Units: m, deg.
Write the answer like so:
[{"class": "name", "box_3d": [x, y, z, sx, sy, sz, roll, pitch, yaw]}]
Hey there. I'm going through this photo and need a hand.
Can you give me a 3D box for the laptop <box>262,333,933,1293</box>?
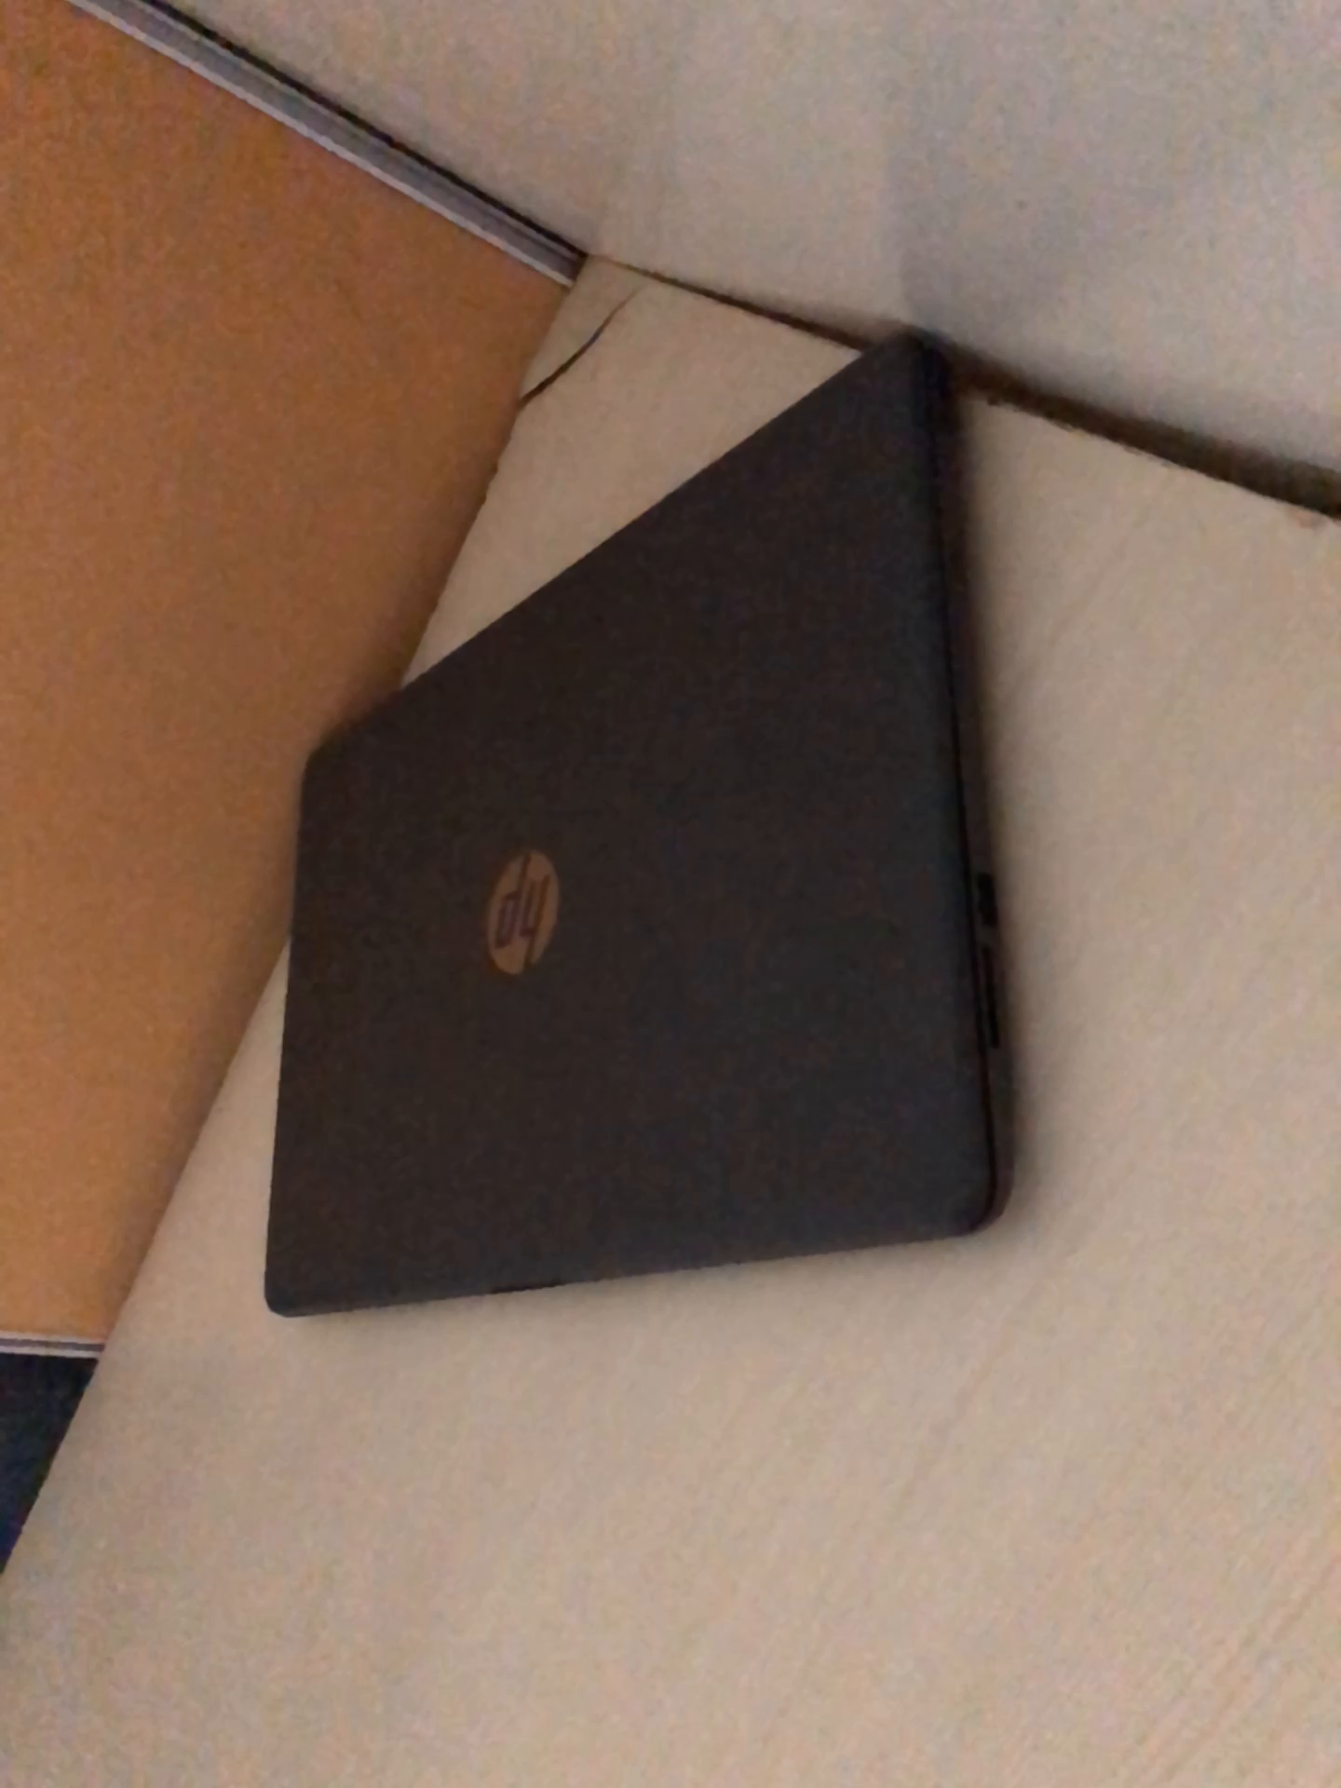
[{"class": "laptop", "box_3d": [-0.050, 0.003, 0.503, 0.357, 0.004, 0.236, -23, 59, 48]}]
